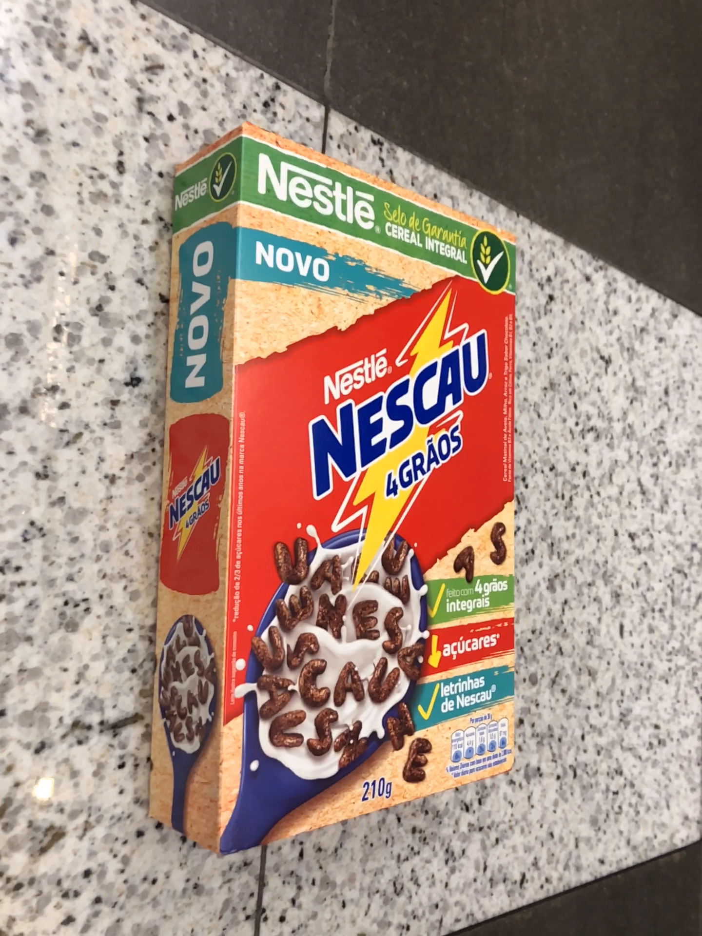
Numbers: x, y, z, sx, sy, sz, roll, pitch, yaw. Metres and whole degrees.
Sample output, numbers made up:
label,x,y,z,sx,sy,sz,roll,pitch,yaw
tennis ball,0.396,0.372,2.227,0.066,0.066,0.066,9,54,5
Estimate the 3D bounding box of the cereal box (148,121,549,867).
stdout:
label,x,y,z,sx,sy,sz,roll,pitch,yaw
cereal box,0.011,0.010,0.325,0.171,0.050,0.240,5,85,-41
